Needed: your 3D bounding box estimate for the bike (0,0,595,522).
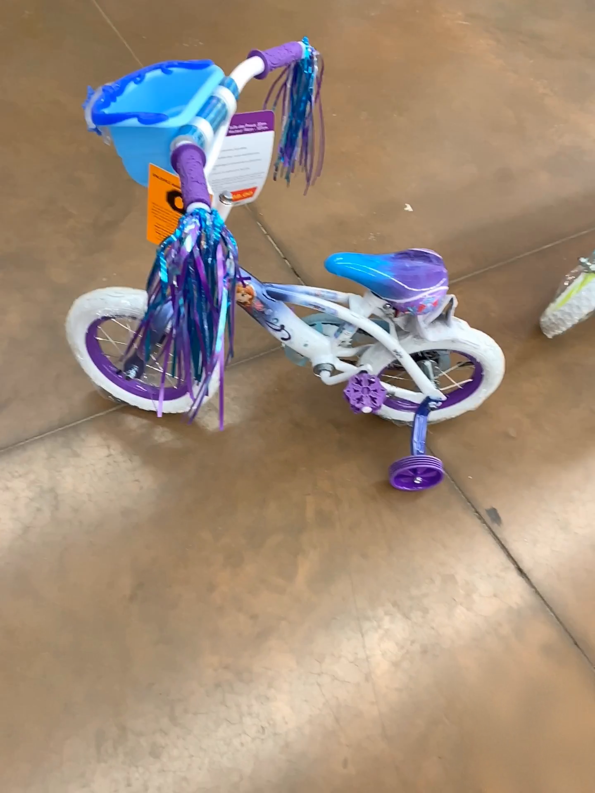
[{"bbox_3d":[0.039,-0.166,0.940,0.804,0.634,0.441,7,56,-10],"label":"bike"}]
